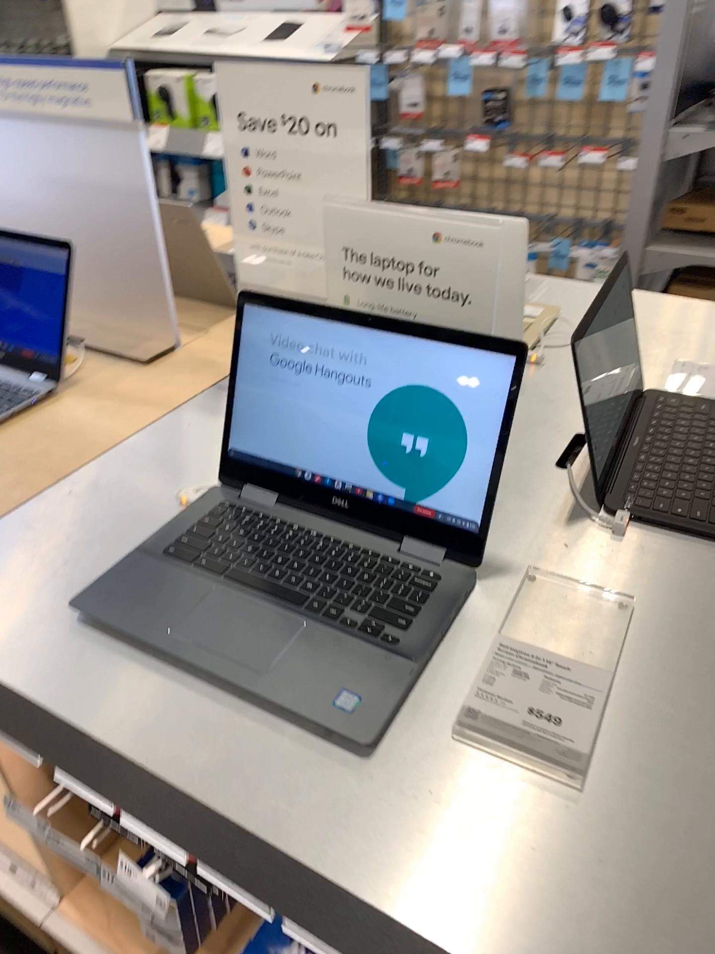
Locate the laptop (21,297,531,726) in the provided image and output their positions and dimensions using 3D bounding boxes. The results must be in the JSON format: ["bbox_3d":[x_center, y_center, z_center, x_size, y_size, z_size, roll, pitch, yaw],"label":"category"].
[{"bbox_3d":[-0.054,-0.003,0.670,0.310,0.202,0.293,17,37,26],"label":"laptop"}]
